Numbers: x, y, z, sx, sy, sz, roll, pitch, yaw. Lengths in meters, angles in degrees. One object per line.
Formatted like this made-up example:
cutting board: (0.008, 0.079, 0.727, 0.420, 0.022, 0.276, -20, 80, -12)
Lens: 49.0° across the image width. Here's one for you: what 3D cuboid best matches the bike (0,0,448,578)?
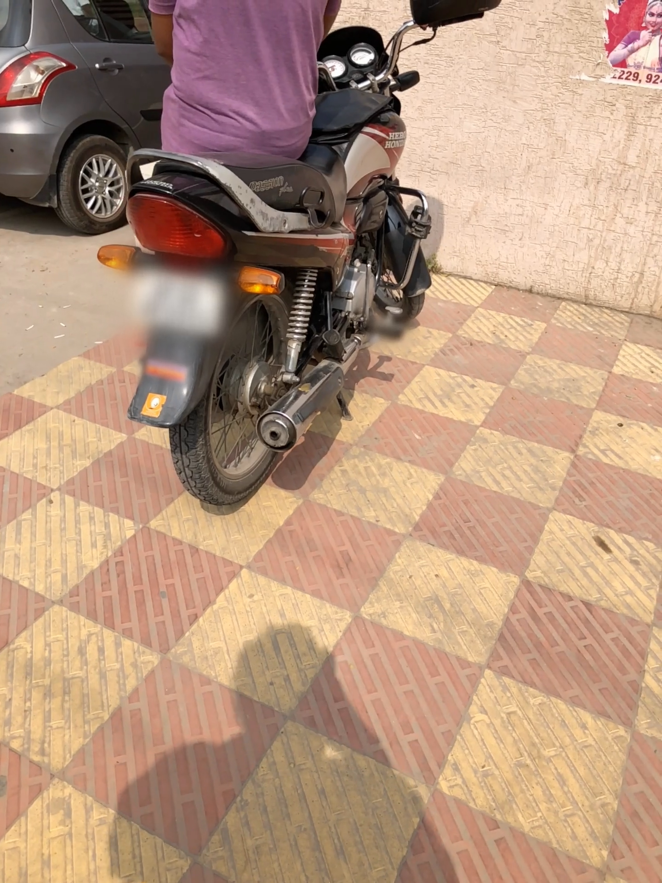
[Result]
bike: (-0.198, -0.692, 2.203, 0.891, 1.066, 1.734, 8, 34, 9)
